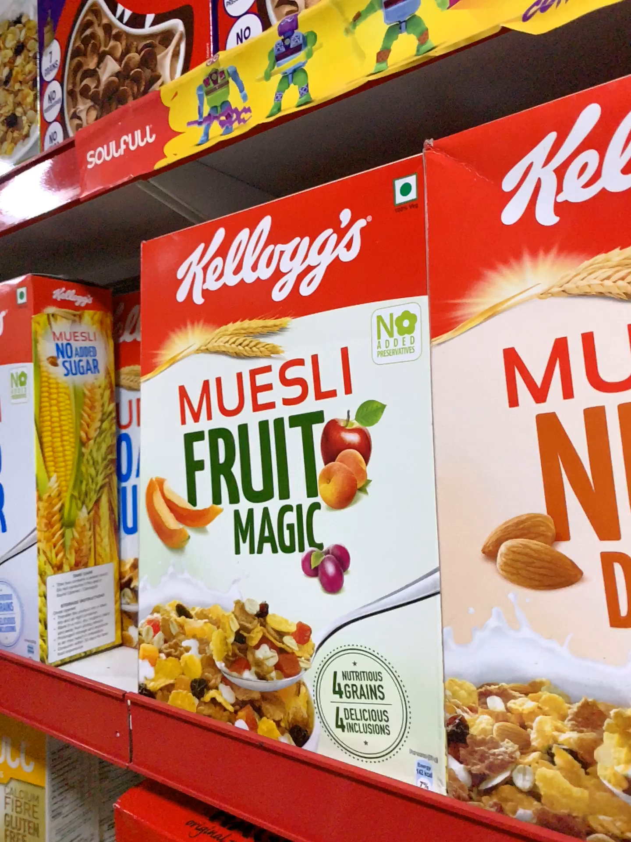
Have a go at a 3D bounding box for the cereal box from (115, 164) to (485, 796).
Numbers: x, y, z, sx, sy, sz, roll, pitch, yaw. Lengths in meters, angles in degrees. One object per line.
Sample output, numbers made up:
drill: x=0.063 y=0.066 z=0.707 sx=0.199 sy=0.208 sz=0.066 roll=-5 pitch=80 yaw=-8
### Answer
cereal box: x=-0.018 y=0.023 z=0.327 sx=0.180 sy=0.240 sz=0.060 roll=-3 pitch=-4 yaw=36
